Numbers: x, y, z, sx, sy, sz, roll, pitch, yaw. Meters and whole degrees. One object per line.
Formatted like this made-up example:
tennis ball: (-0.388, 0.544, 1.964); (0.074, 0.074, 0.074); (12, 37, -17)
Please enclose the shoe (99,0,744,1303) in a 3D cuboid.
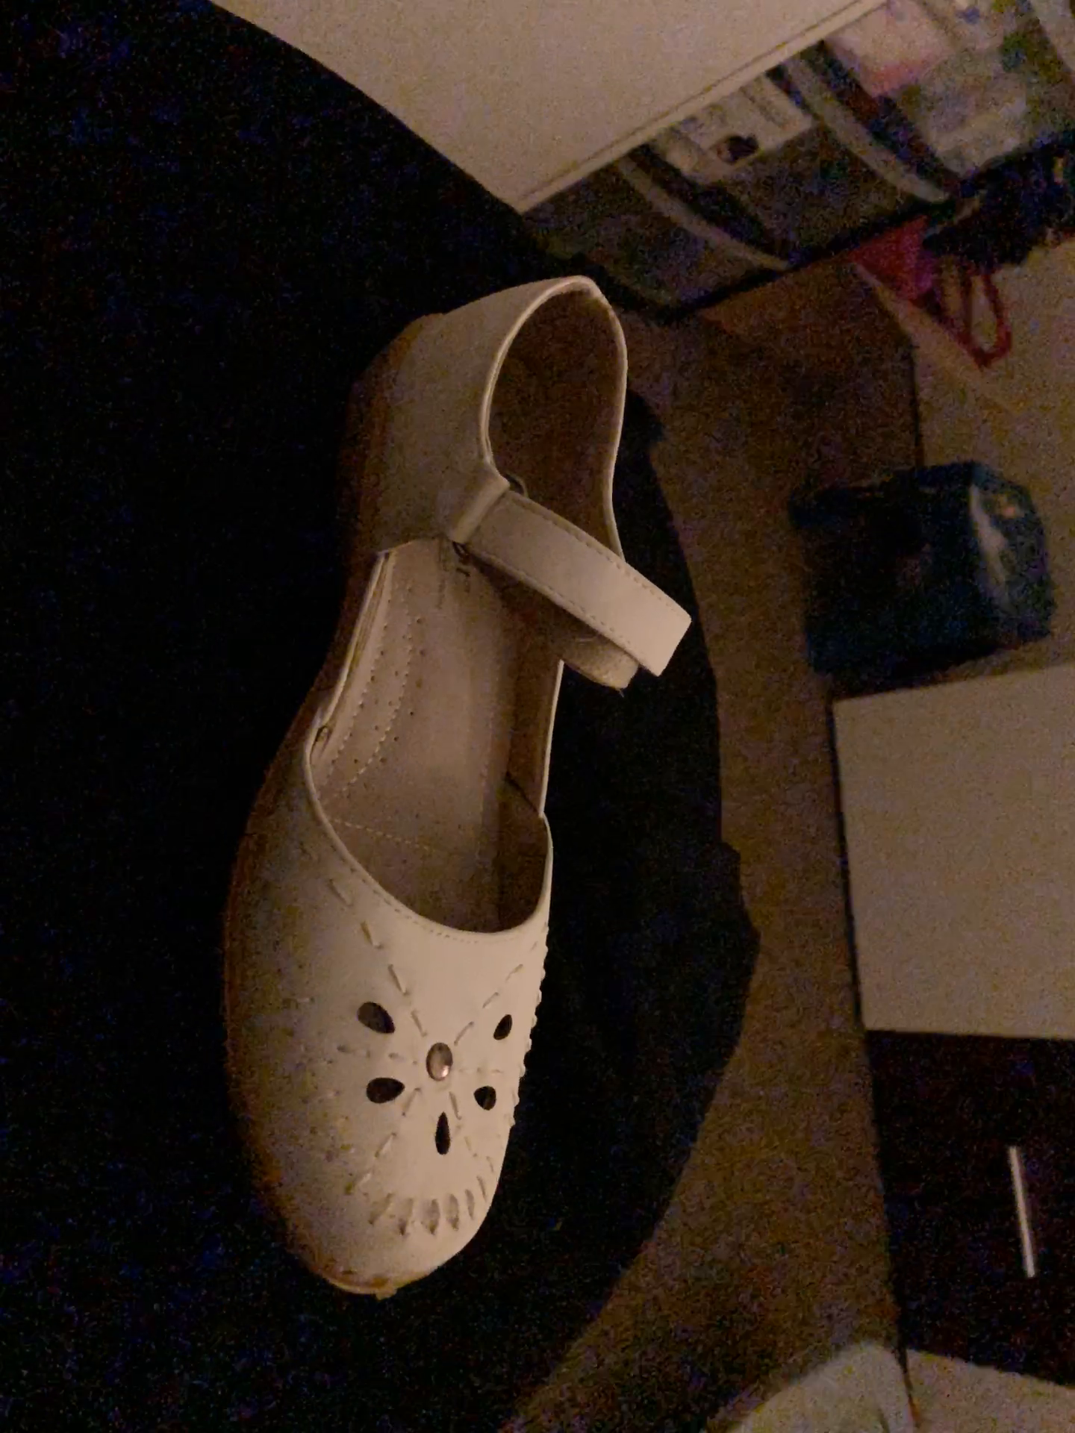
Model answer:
shoe: (-0.018, -0.018, 0.281); (0.098, 0.099, 0.271); (20, 67, -44)
